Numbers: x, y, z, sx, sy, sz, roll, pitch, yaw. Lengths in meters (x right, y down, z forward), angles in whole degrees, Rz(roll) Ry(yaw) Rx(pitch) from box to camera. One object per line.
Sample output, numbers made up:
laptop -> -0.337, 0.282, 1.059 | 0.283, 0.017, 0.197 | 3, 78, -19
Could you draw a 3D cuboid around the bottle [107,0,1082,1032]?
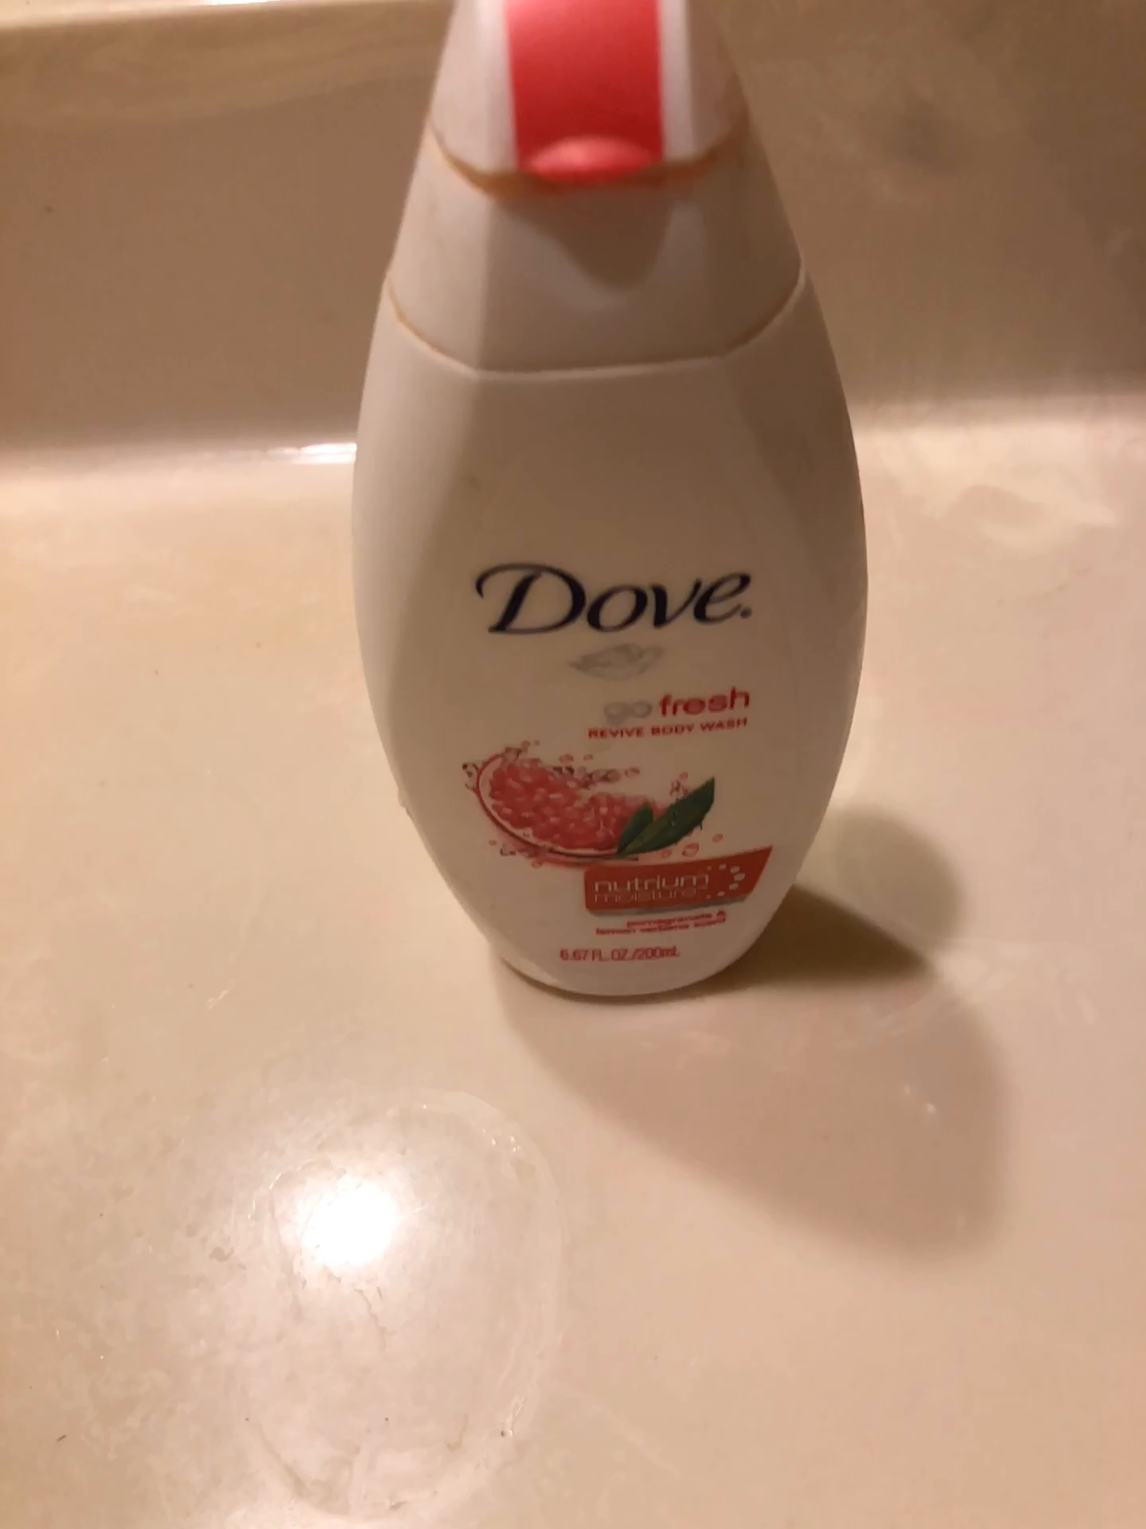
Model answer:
bottle -> 0.006, -0.019, 0.168 | 0.070, 0.160, 0.040 | -2, 53, 3
